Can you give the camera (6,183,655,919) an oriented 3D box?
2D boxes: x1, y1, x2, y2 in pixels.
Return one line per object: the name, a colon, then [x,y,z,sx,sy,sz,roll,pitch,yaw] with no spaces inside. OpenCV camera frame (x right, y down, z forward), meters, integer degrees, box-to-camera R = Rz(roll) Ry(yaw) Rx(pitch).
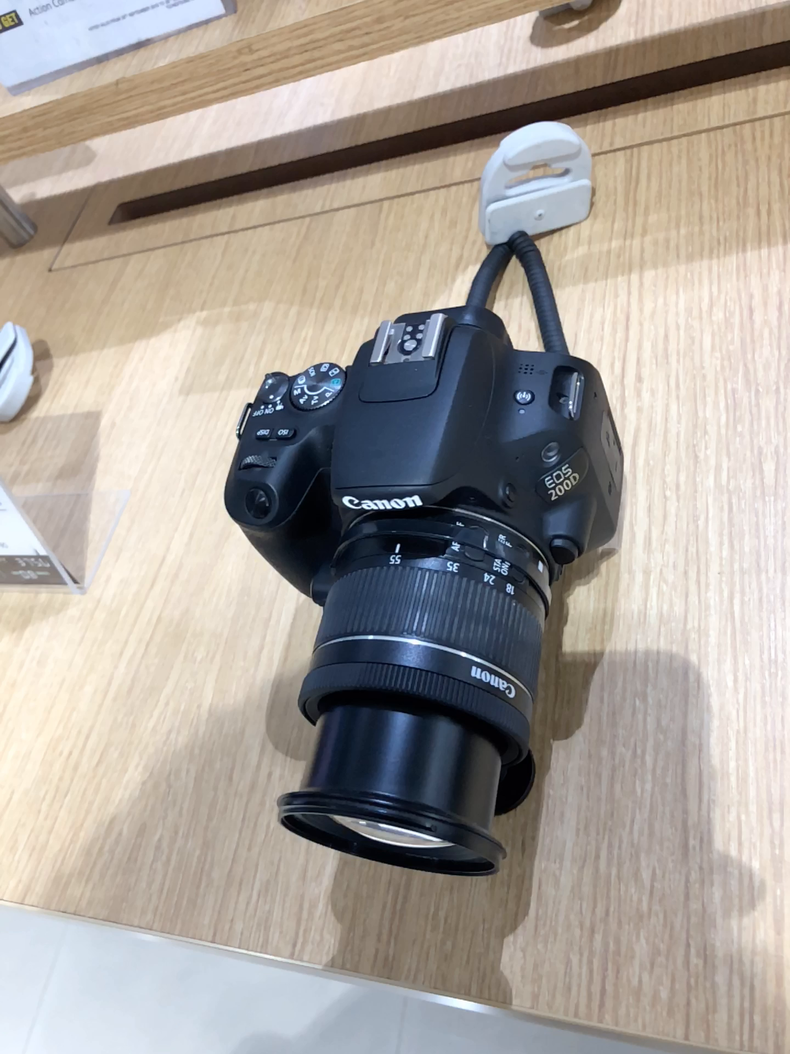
camera: [0.001,0.007,0.250,0.120,0.099,0.161,-2,57,25]
